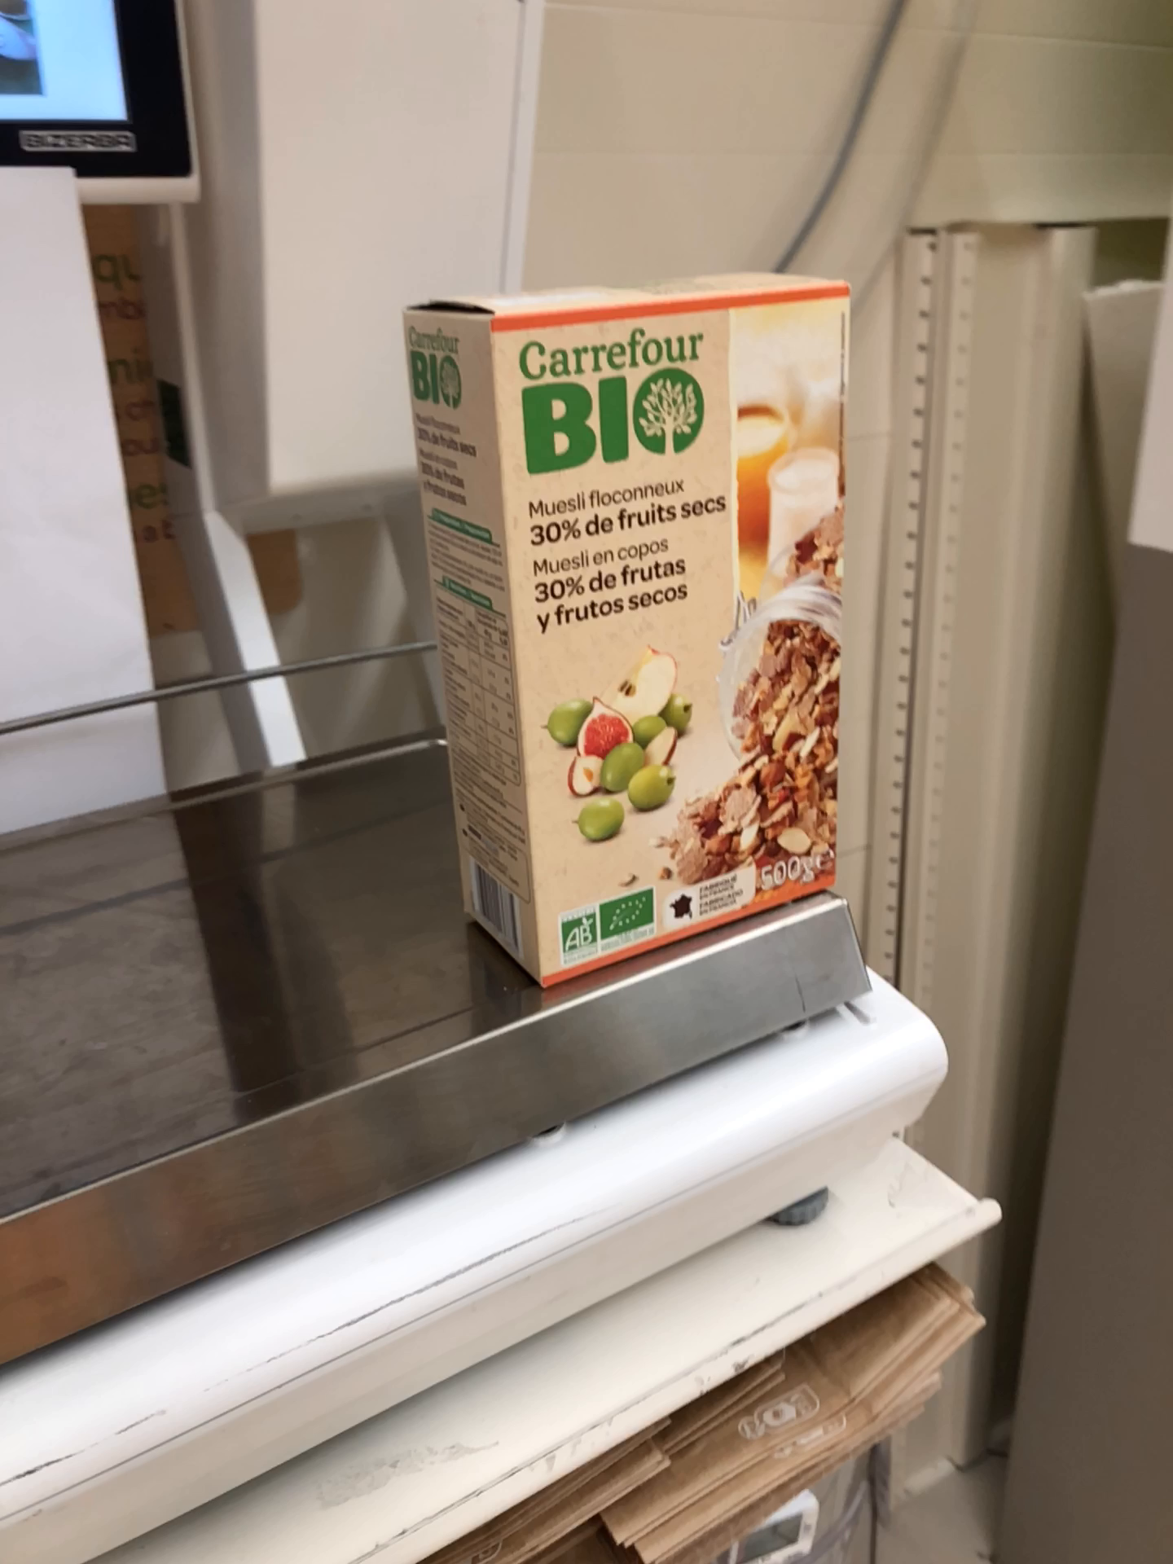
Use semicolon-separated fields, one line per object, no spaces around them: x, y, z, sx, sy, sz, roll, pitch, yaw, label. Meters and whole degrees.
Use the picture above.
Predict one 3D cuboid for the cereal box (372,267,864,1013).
0.015;-0.049;0.419;0.130;0.209;0.060;-16;28;-26;cereal box
